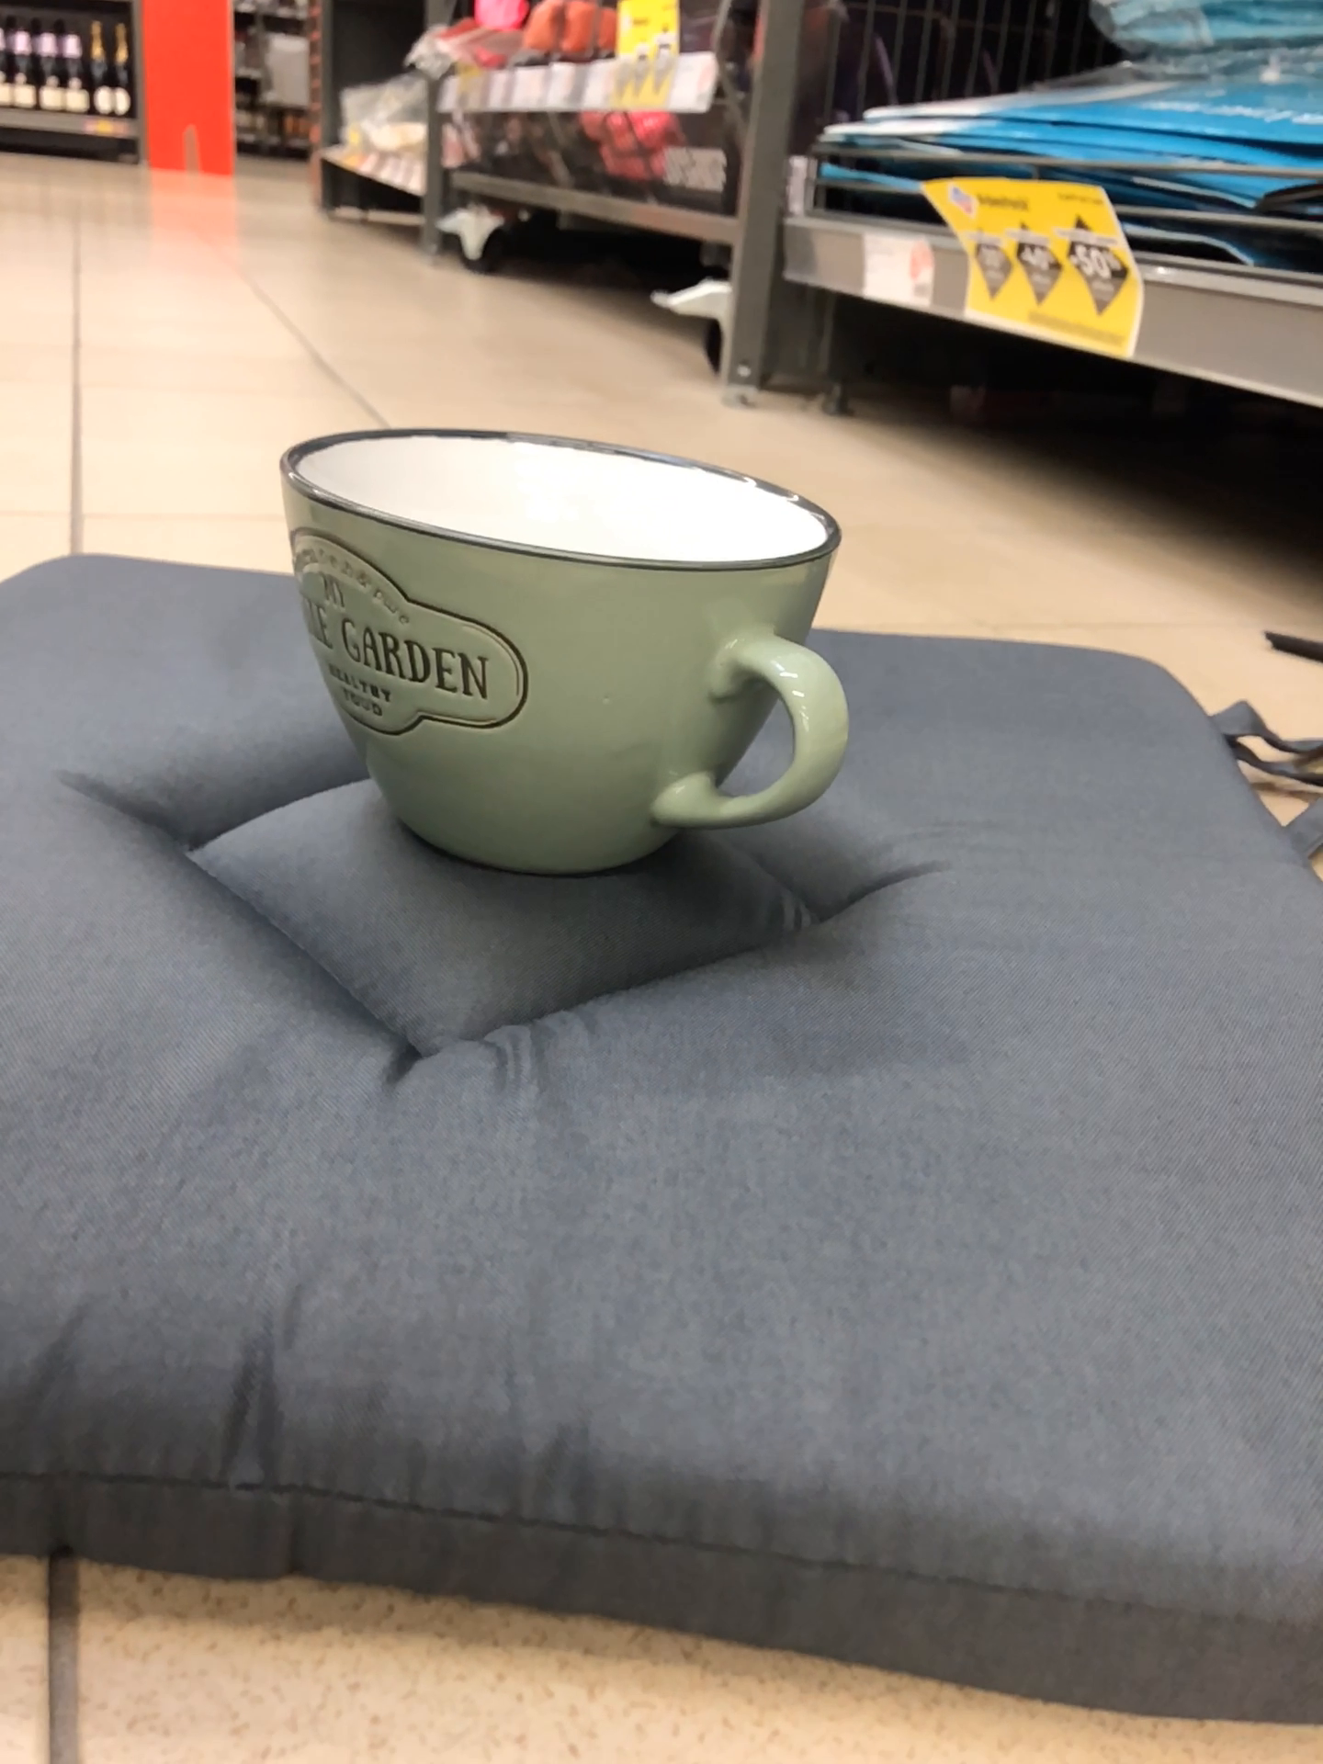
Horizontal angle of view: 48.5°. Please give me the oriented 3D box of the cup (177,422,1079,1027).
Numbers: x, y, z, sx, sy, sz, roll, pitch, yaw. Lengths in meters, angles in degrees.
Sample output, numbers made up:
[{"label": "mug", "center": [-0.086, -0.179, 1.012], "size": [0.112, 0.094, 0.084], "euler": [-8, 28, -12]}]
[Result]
[{"label": "cup", "center": [-0.012, -0.048, 0.311], "size": [0.121, 0.070, 0.140], "euler": [-17, 34, -40]}]
